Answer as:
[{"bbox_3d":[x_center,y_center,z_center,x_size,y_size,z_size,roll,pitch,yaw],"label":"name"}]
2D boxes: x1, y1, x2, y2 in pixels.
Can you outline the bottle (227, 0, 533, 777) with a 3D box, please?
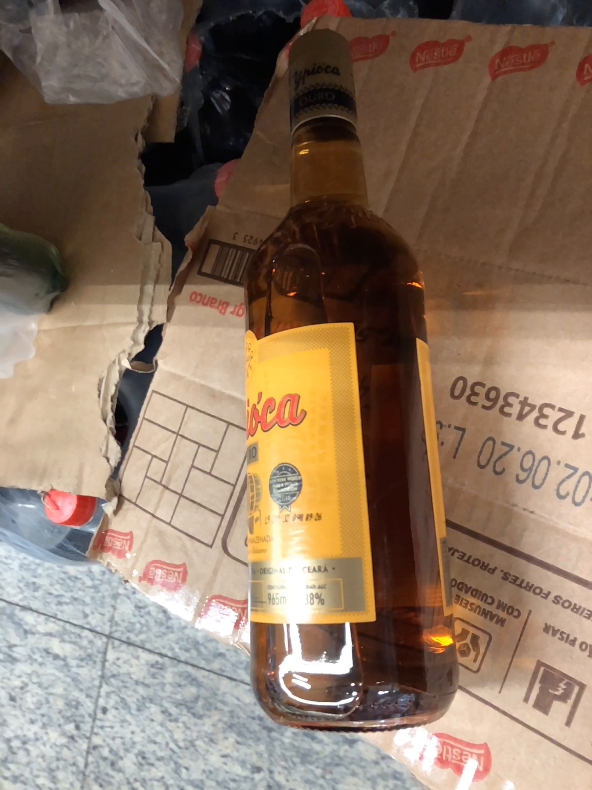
[{"bbox_3d":[0.020,-0.030,0.273,0.090,0.080,0.310,1,77,-10],"label":"bottle"}]
